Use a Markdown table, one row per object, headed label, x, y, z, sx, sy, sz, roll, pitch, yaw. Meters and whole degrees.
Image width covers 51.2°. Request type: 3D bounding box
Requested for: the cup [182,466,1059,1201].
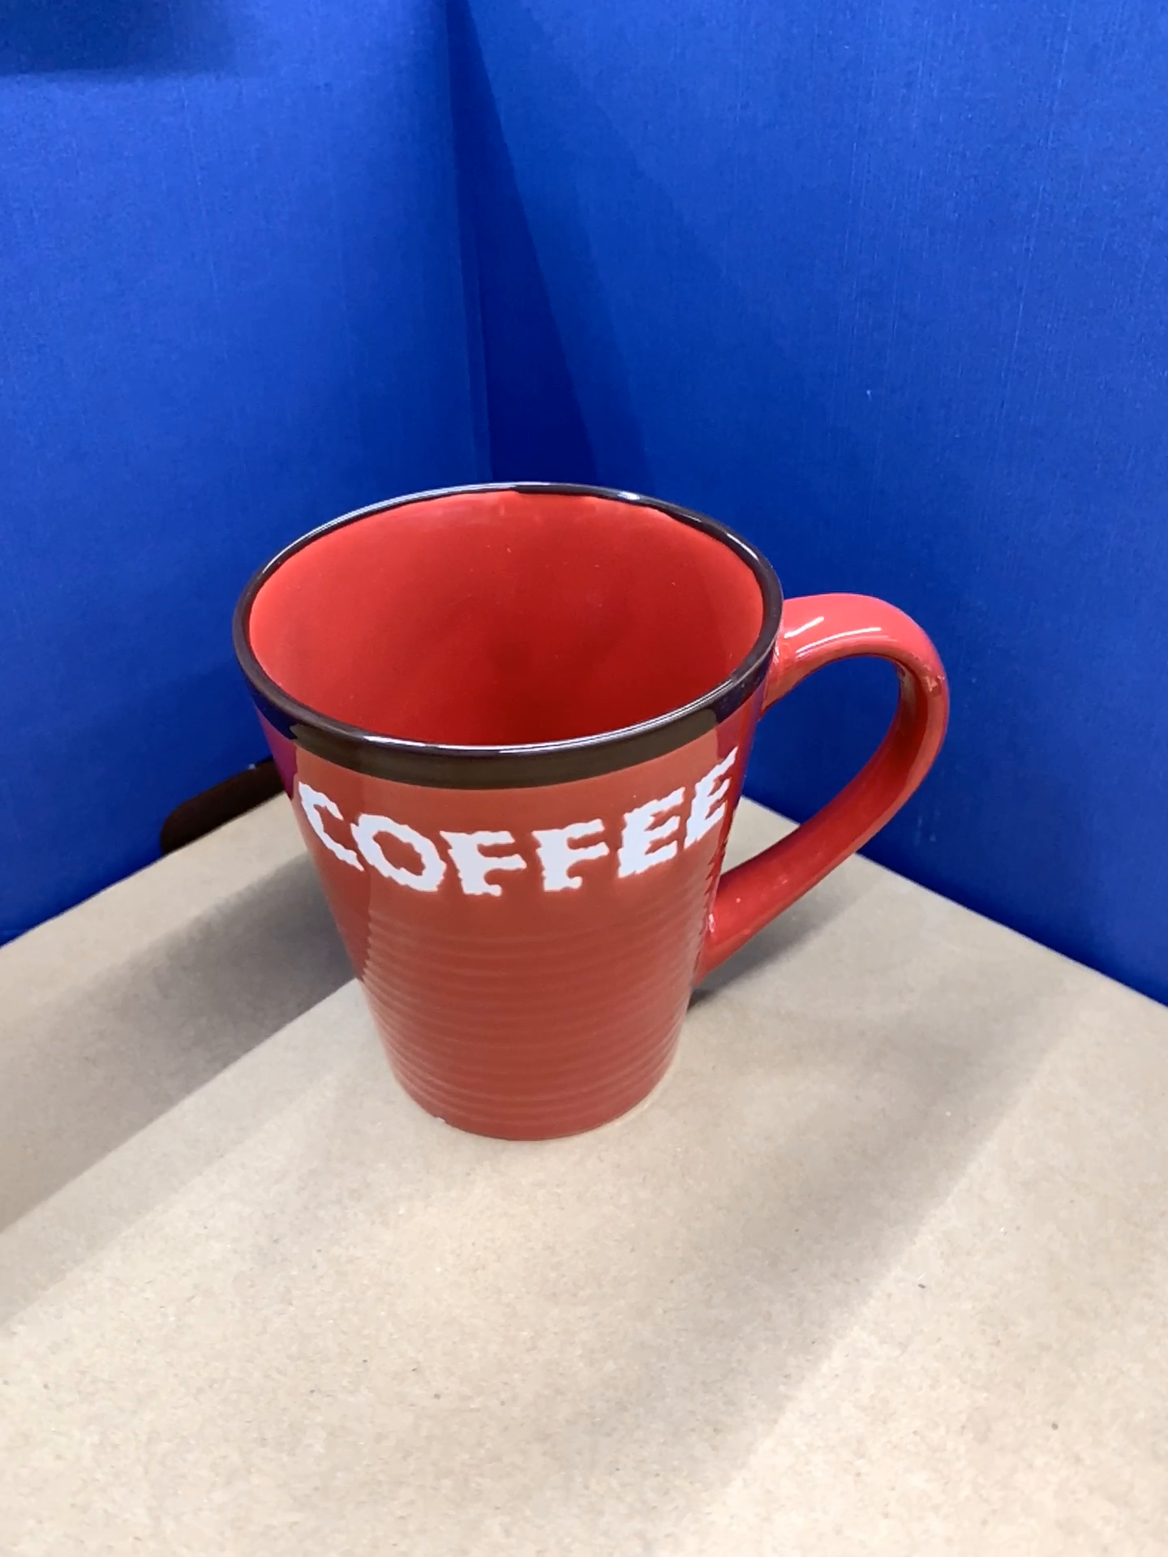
| label | x | y | z | sx | sy | sz | roll | pitch | yaw |
| --- | --- | --- | --- | --- | --- | --- | --- | --- | --- |
| cup | 0.001 | 0.004 | 0.238 | 0.125 | 0.092 | 0.101 | -5 | 34 | -6 |
